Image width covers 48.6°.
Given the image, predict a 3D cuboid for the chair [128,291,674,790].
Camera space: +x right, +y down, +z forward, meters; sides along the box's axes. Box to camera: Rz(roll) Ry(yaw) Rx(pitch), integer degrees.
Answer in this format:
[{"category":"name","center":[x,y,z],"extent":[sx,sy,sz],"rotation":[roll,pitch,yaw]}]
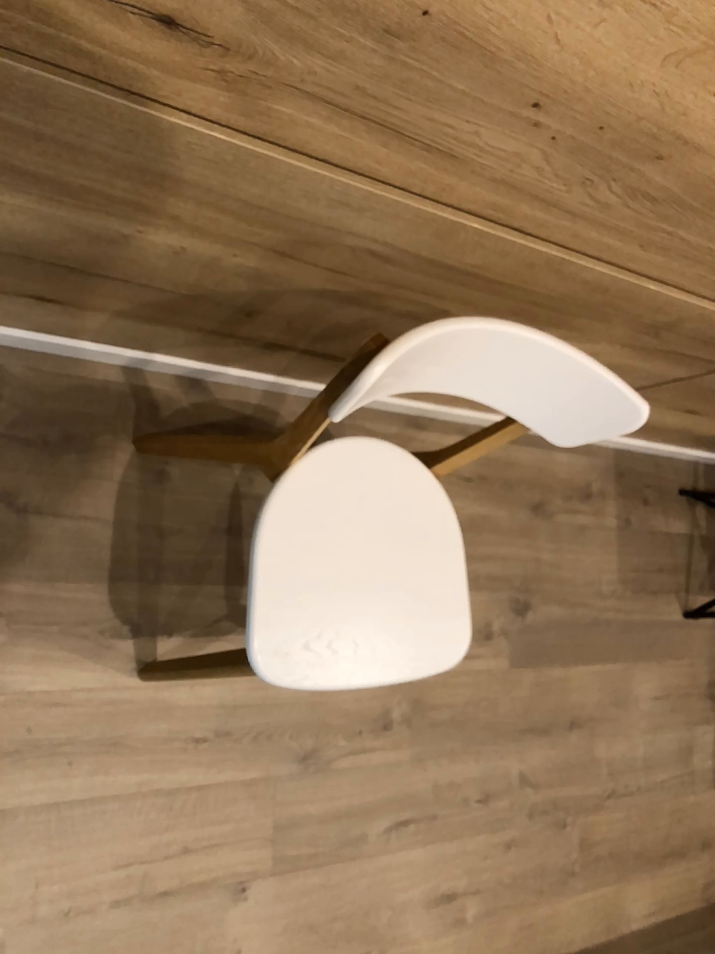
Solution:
[{"category":"chair","center":[-0.007,0.108,1.325],"extent":[0.502,0.827,0.530],"rotation":[2,83,-33]}]
